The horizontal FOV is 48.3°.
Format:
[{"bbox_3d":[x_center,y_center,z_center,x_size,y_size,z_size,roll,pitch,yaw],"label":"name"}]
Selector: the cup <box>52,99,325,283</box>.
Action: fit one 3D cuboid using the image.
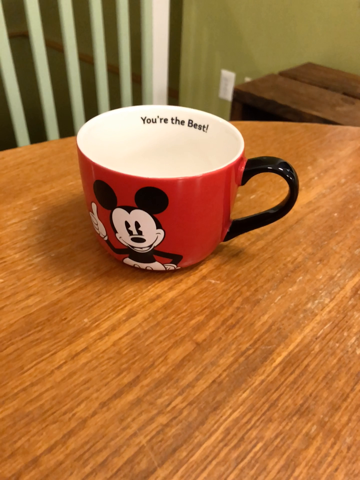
[{"bbox_3d":[0.006,-0.038,0.271,0.142,0.069,0.103,5,39,2],"label":"cup"}]
